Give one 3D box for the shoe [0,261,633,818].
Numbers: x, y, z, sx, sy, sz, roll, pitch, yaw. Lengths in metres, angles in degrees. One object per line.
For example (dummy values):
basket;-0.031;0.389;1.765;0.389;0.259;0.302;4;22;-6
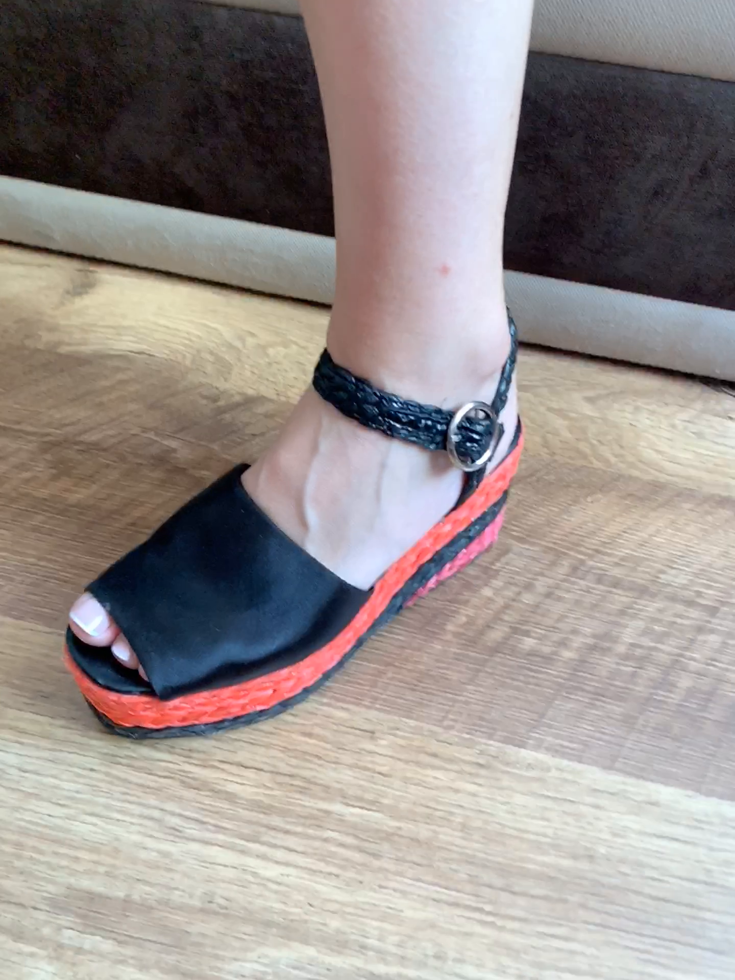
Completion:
shoe;-0.017;0.012;0.329;0.240;0.124;0.089;-28;57;-26
